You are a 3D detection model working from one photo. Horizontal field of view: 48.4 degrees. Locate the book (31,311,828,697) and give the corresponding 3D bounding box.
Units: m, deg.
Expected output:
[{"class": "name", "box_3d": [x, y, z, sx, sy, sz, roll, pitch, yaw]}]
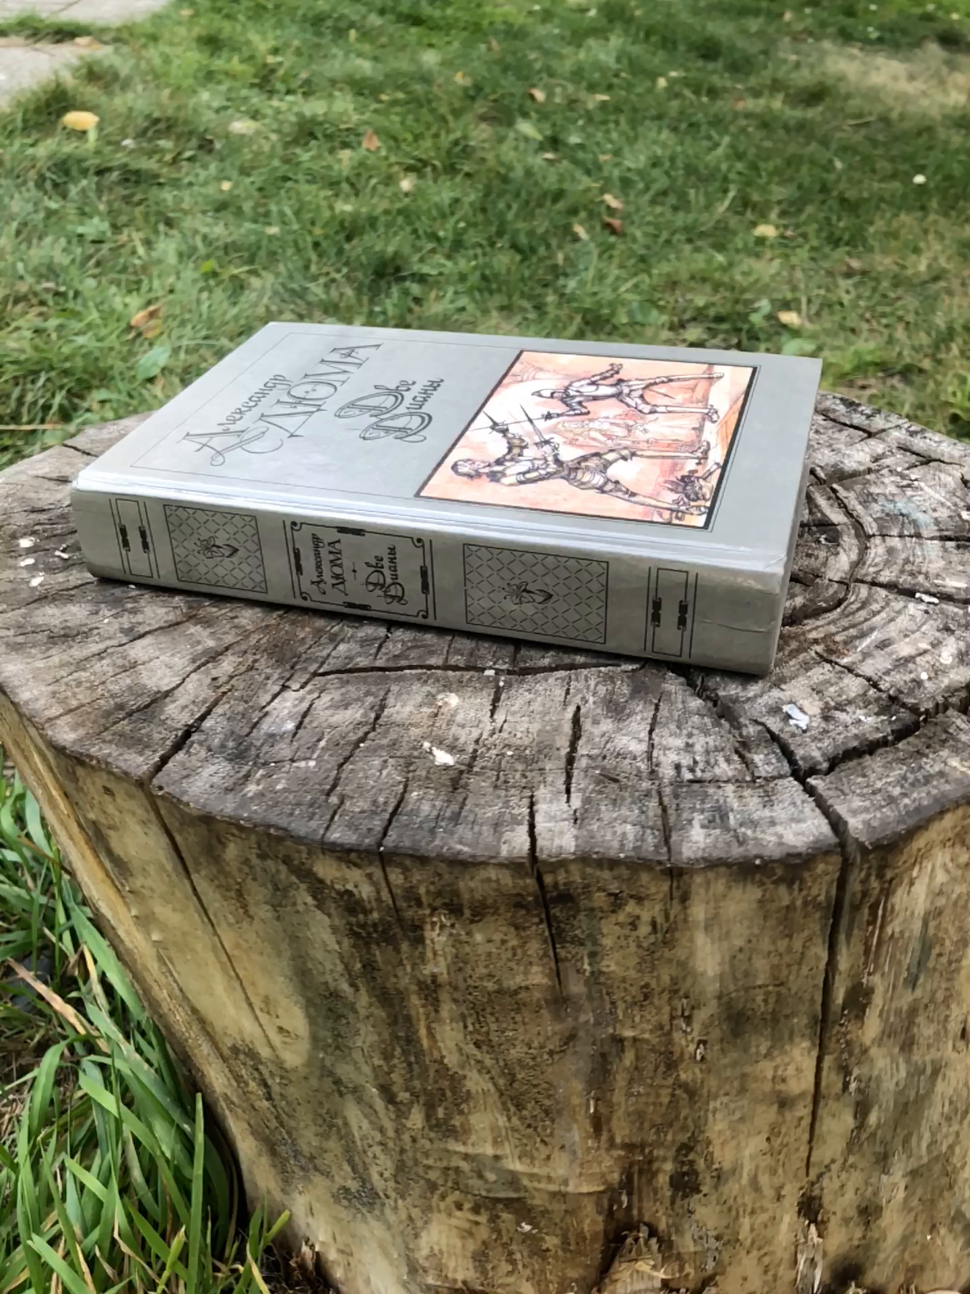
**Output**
[{"class": "book", "box_3d": [-0.006, -0.057, 0.332, 0.204, 0.030, 0.141, 9, 39, 15]}]
